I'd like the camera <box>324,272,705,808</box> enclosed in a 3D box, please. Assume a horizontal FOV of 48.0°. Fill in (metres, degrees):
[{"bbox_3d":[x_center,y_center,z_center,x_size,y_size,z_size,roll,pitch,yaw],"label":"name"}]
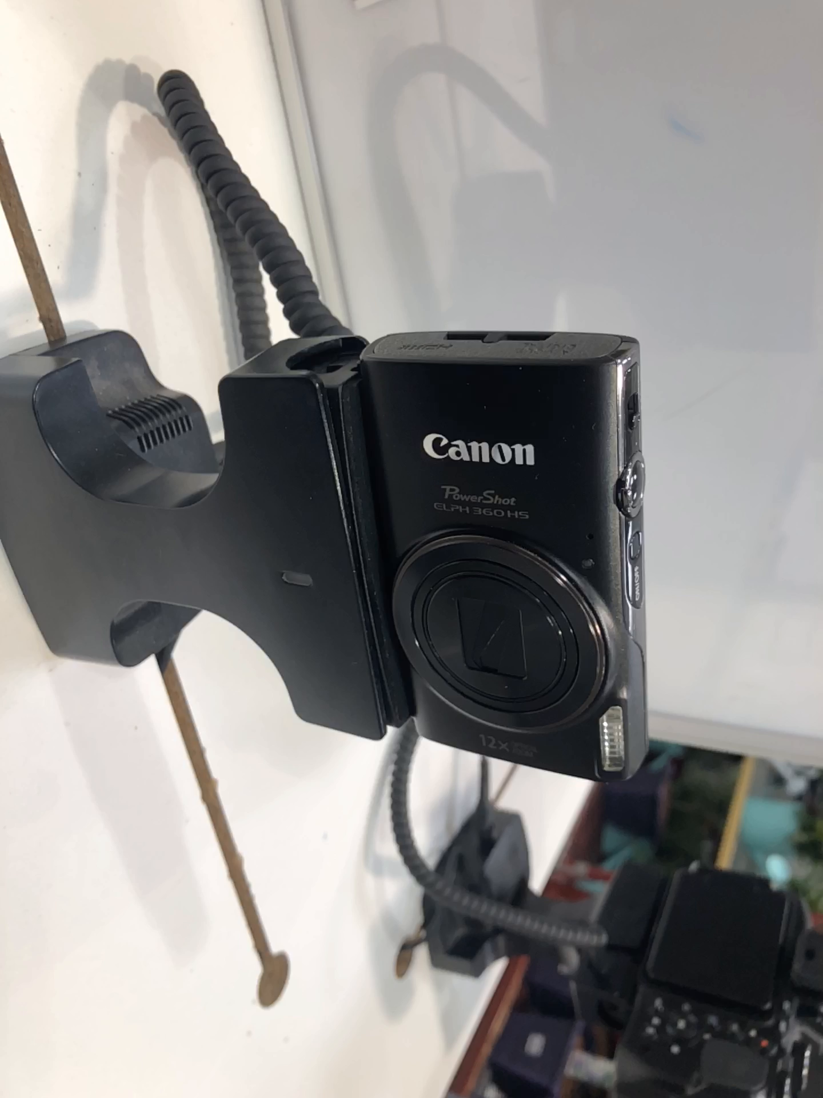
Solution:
[{"bbox_3d":[0.027,-0.001,0.210,0.030,0.070,0.110,-43,131,-51],"label":"camera"}]
